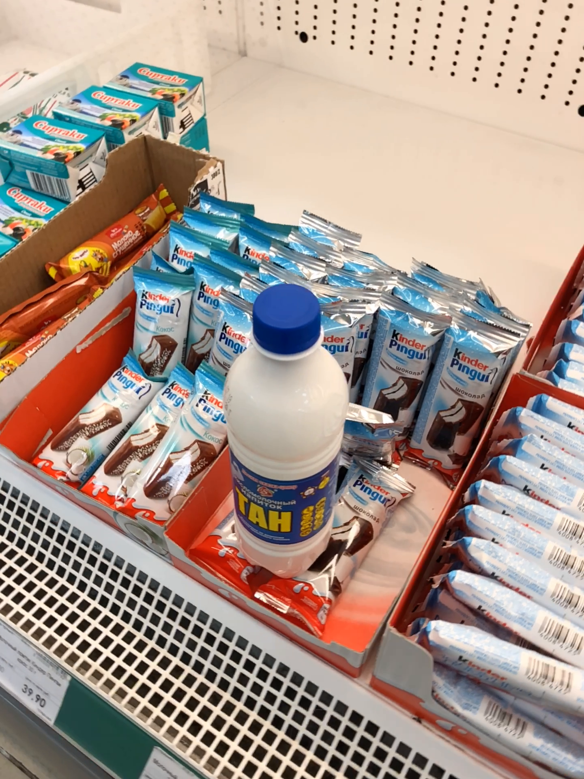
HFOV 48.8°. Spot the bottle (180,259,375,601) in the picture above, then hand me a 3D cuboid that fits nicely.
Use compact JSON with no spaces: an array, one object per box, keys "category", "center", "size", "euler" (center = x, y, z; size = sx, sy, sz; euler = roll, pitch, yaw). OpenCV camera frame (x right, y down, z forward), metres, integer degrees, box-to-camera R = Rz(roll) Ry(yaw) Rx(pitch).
[{"category":"bottle","center":[-0.005,0.035,0.350],"size":[0.064,0.203,0.060],"euler":[0,50,0]}]
